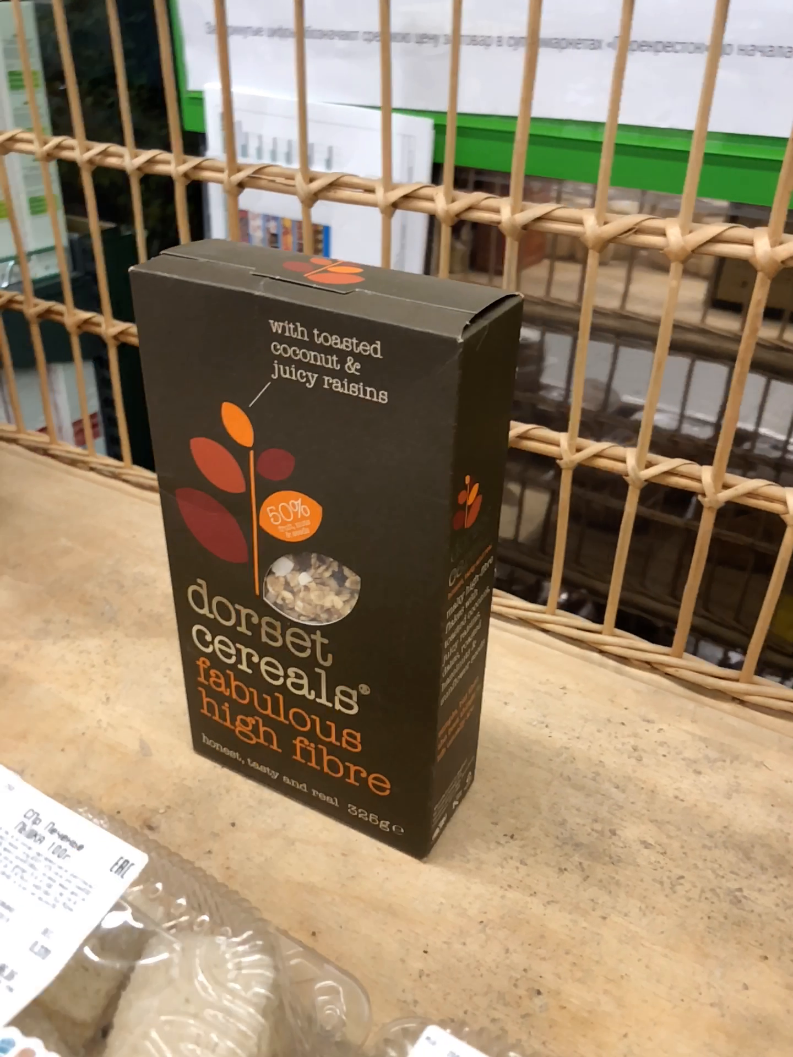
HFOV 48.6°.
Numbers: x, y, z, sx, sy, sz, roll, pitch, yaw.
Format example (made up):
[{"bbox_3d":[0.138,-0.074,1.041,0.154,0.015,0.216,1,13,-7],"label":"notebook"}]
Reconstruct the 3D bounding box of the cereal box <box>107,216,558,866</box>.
[{"bbox_3d":[-0.025,0.008,0.320,0.130,0.209,0.050,17,34,24],"label":"cereal box"}]
